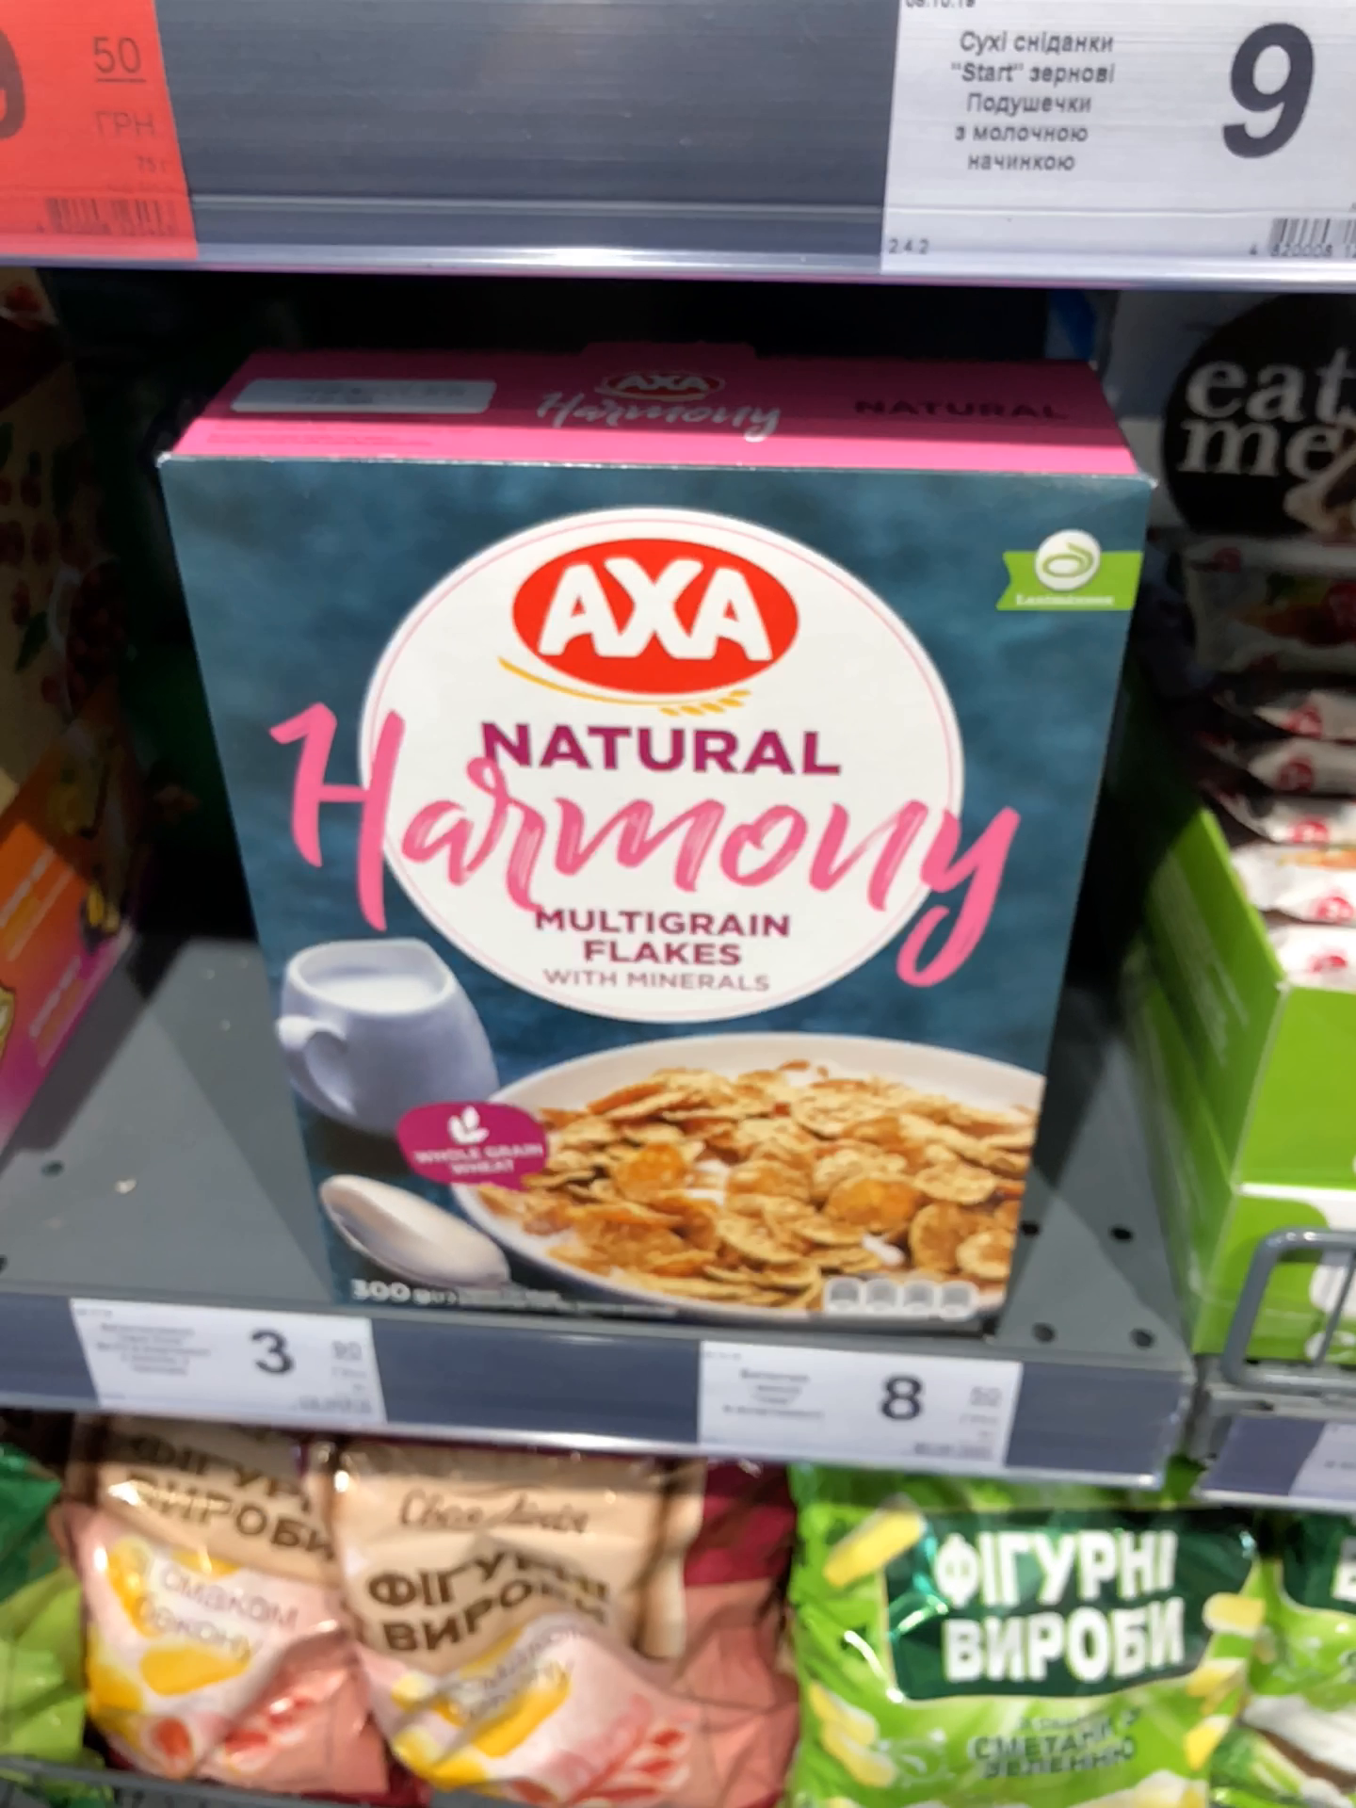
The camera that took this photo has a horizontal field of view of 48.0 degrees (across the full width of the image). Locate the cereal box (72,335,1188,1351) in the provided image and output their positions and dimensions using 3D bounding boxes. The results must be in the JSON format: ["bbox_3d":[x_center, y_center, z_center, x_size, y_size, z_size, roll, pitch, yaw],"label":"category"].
[{"bbox_3d":[-0.006,-0.003,0.338,0.180,0.218,0.071,2,37,4],"label":"cereal box"}]
